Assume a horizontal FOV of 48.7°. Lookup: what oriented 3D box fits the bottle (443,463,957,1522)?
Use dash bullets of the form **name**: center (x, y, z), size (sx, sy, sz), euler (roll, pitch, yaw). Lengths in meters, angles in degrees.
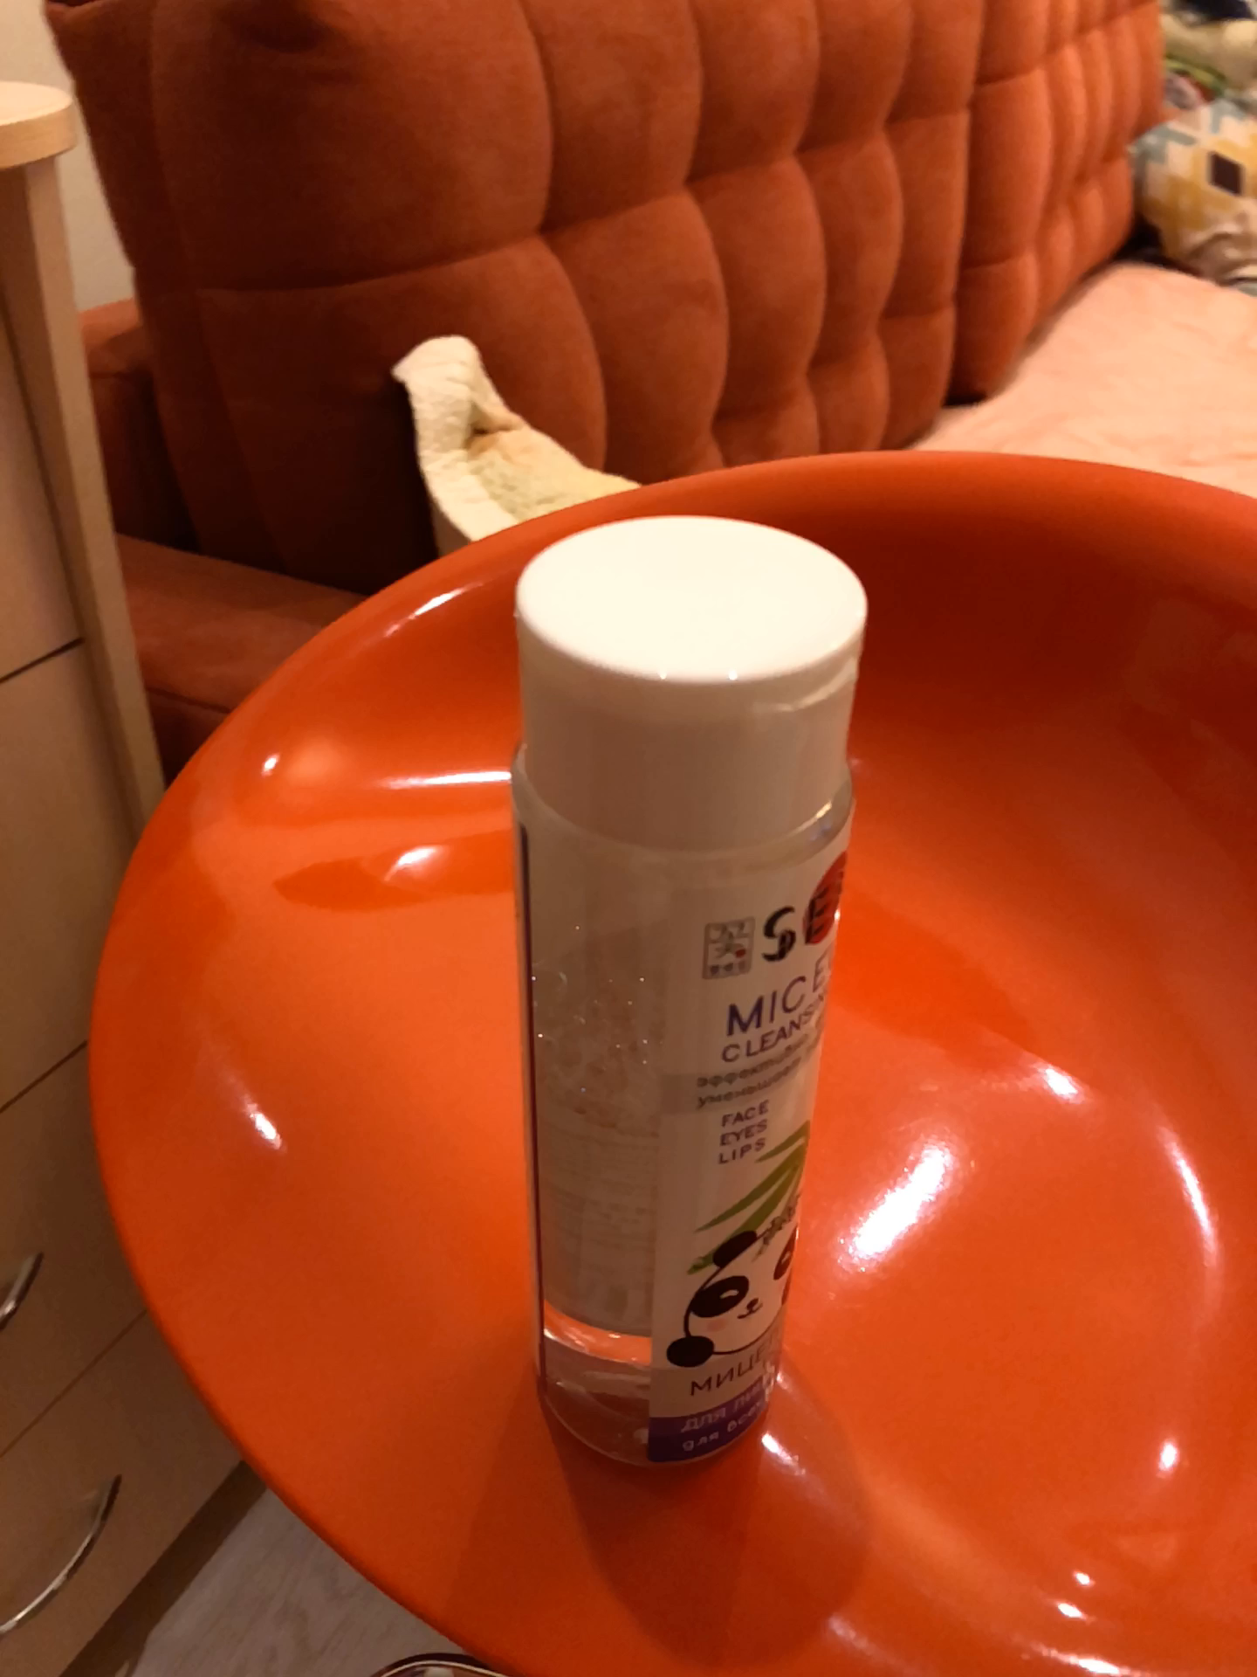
- **bottle**: center (0.009, 0.033, 0.227), size (0.052, 0.166, 0.054), euler (1, 35, -1)
